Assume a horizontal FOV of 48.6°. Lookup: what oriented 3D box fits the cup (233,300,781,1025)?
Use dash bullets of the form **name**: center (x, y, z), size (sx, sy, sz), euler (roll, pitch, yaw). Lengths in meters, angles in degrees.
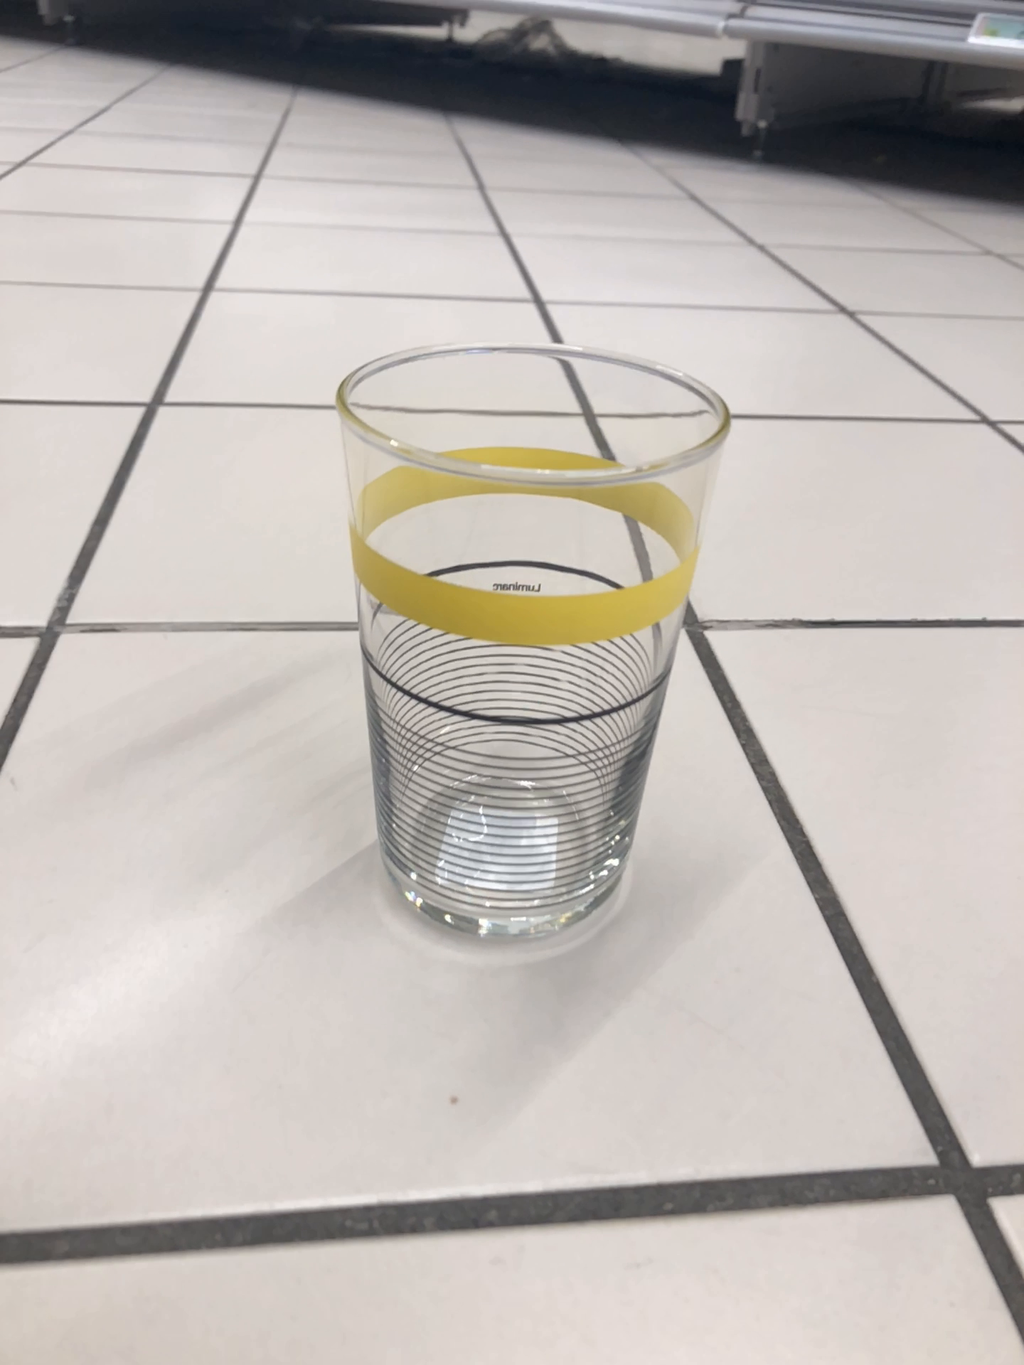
- **cup**: center (0.003, -0.008, 0.232), size (0.079, 0.114, 0.077), euler (1, 31, -1)
